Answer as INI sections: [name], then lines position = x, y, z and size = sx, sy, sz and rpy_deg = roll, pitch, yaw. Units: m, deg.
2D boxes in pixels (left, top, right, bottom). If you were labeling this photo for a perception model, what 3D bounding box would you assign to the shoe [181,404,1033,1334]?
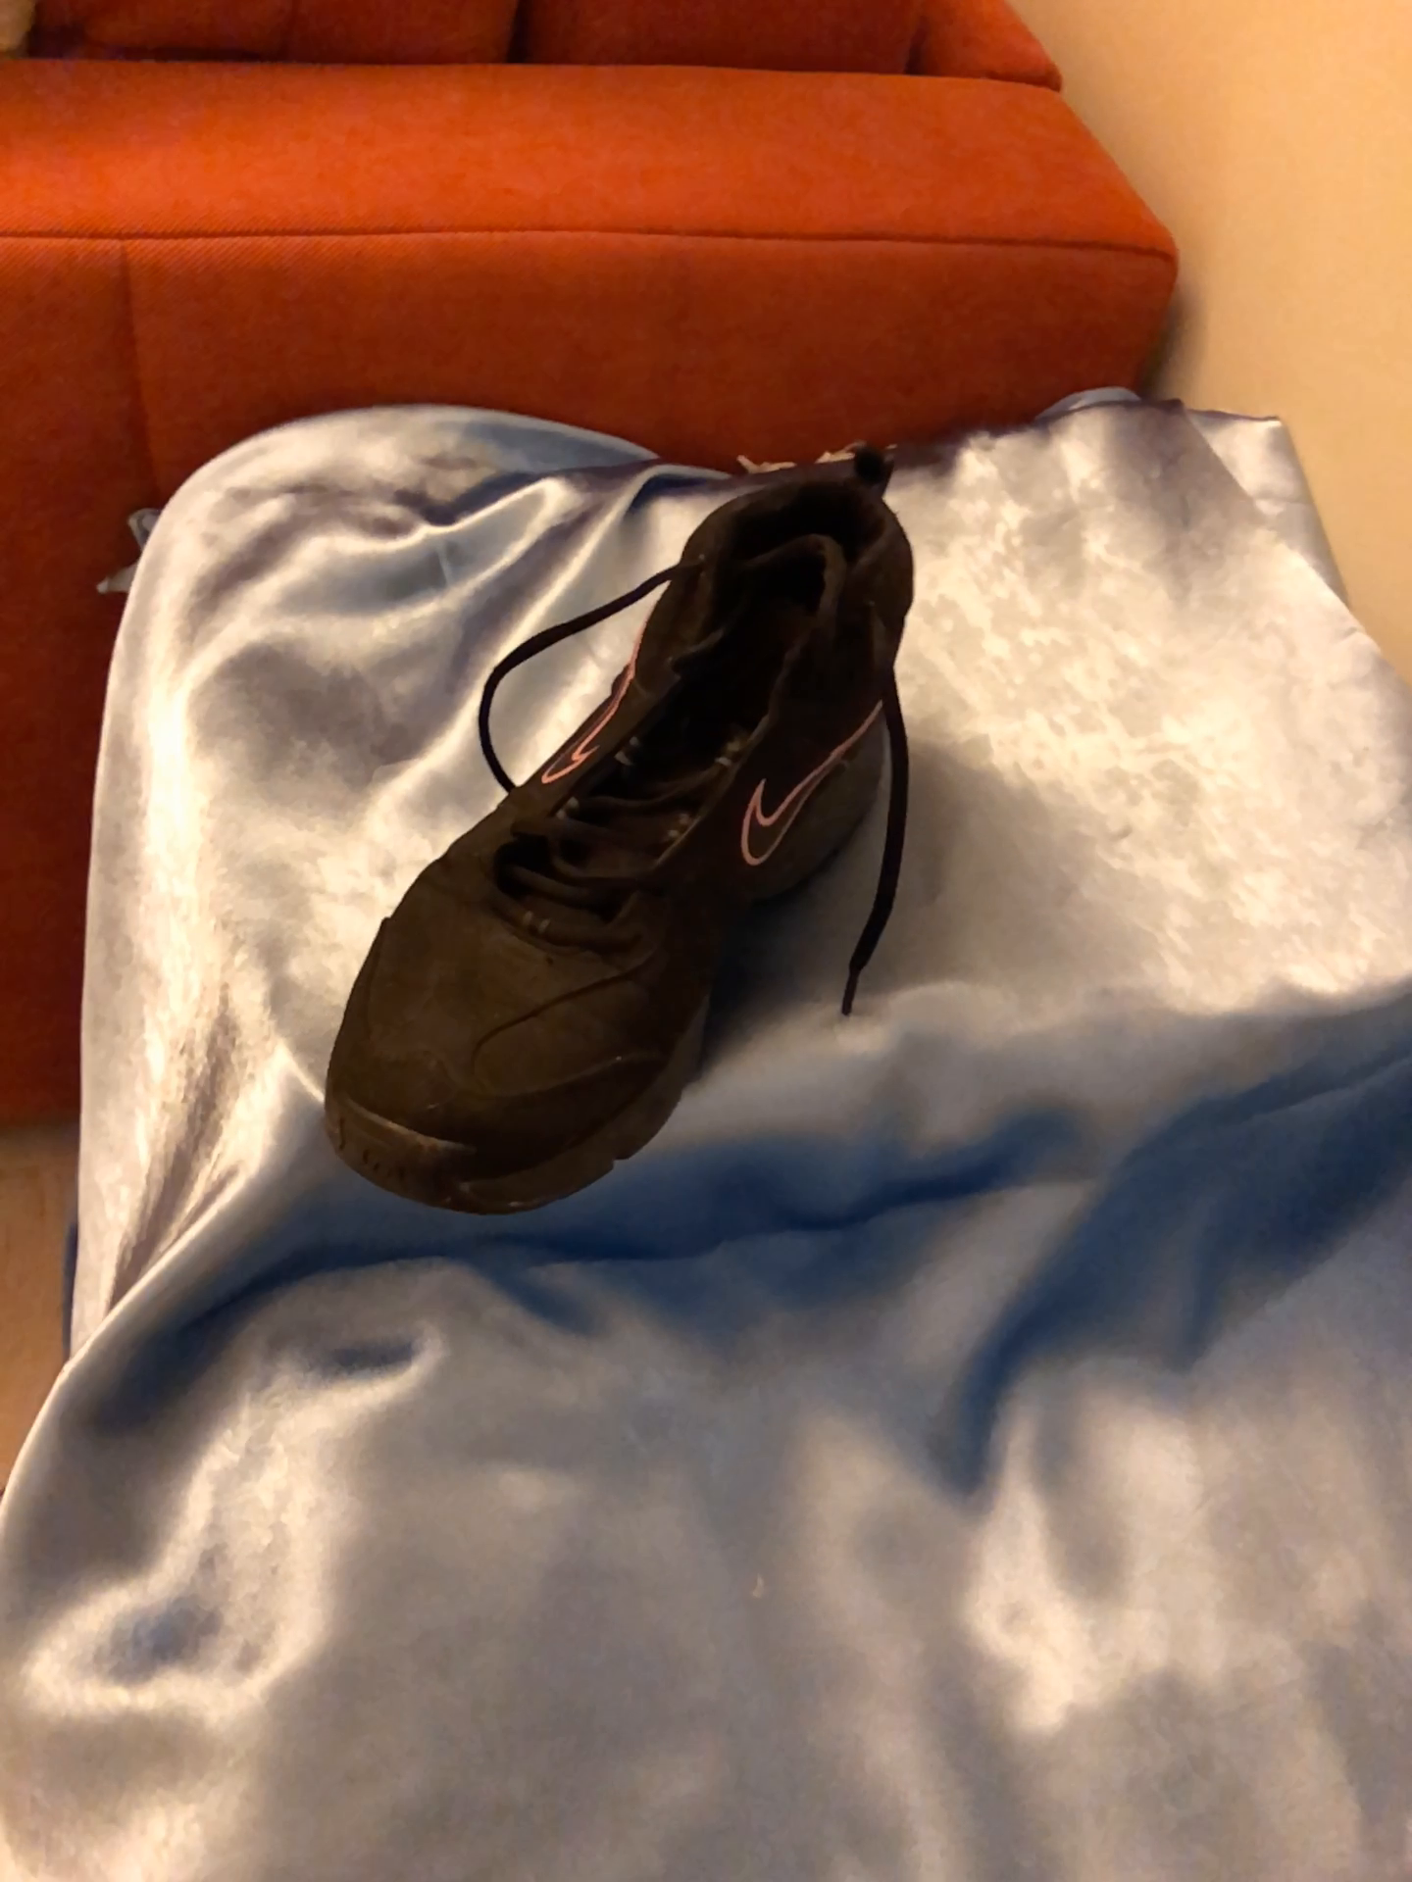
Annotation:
[shoe]
position = -0.016, -0.036, 0.459
size = 0.107, 0.099, 0.261
rpy_deg = 29, 54, 13
